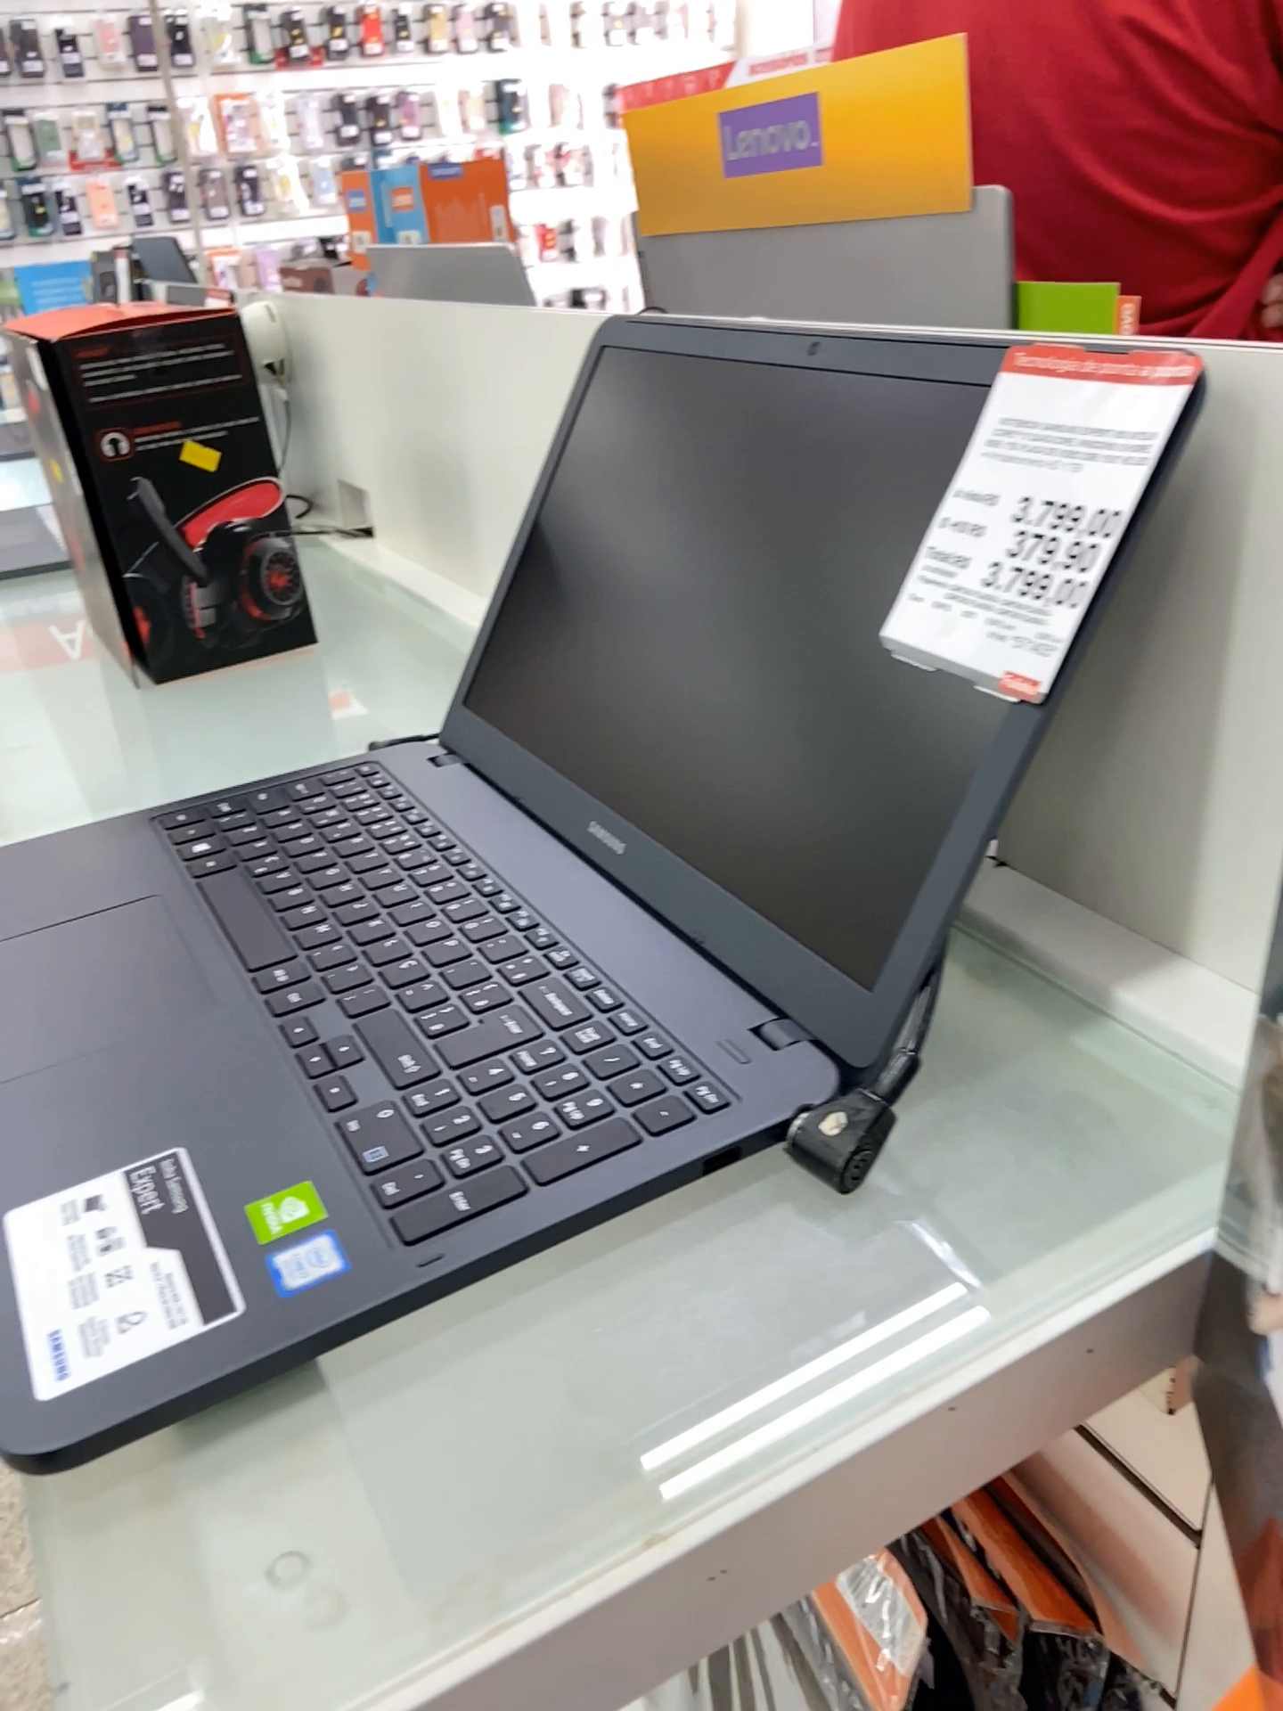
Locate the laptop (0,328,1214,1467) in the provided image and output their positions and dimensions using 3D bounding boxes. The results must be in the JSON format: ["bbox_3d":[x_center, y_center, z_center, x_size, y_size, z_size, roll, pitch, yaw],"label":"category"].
[{"bbox_3d":[-0.082,-0.063,0.483,0.369,0.192,0.372,-18,28,-23],"label":"laptop"}]
